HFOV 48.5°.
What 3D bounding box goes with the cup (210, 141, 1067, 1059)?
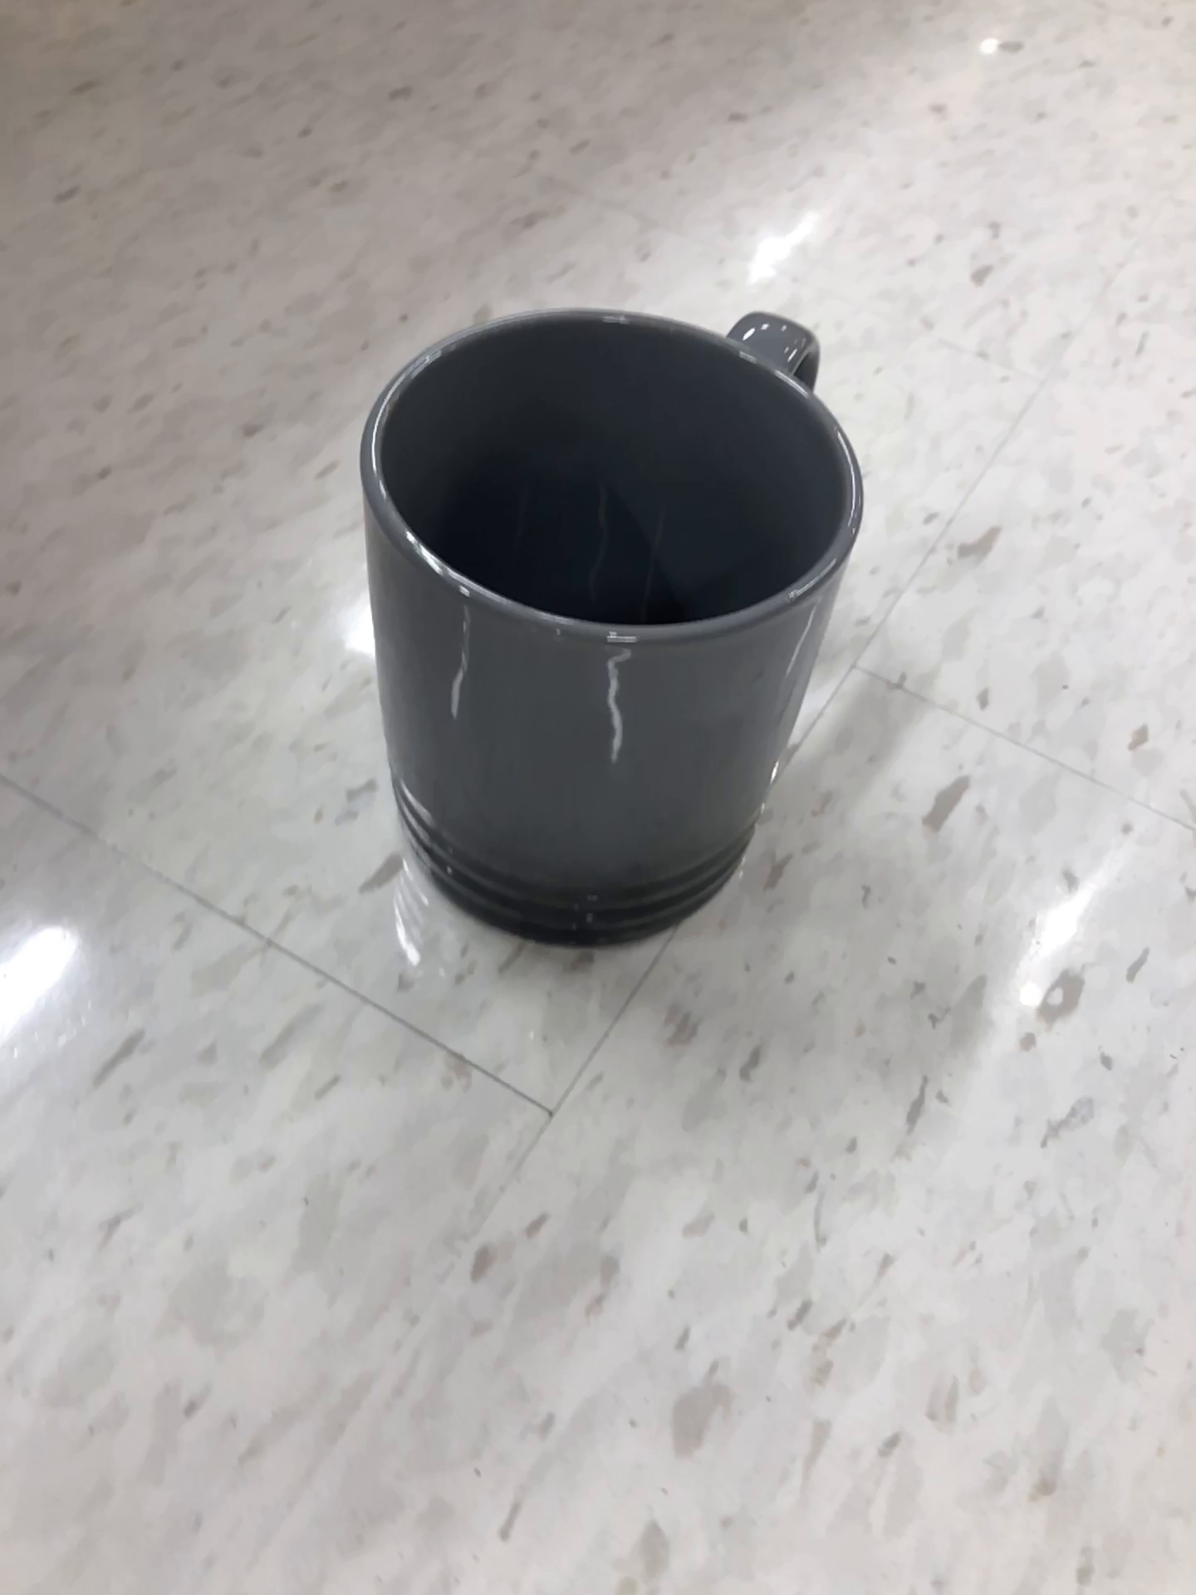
[{"bbox_3d":[0.013,-0.048,0.280,0.100,0.090,0.151,27,55,12],"label":"cup"}]
